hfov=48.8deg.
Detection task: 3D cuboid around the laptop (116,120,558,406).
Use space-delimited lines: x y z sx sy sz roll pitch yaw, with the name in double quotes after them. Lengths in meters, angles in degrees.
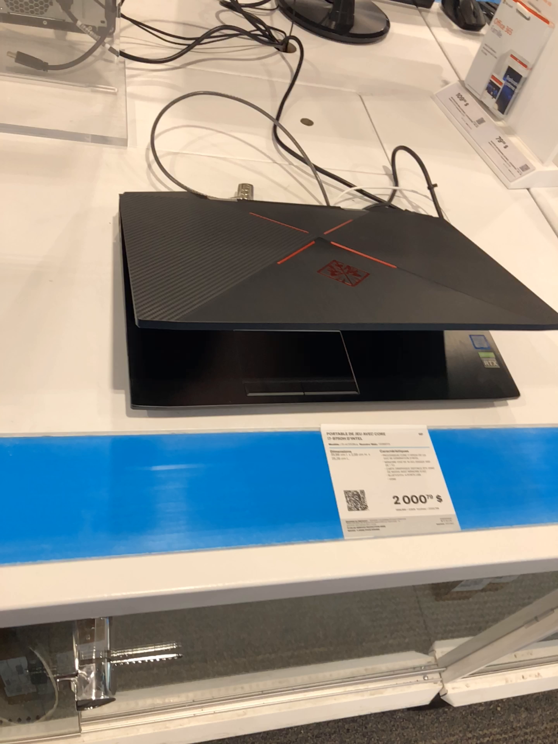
0.042 -0.094 0.539 0.346 0.085 0.235 0 53 -17 "laptop"
